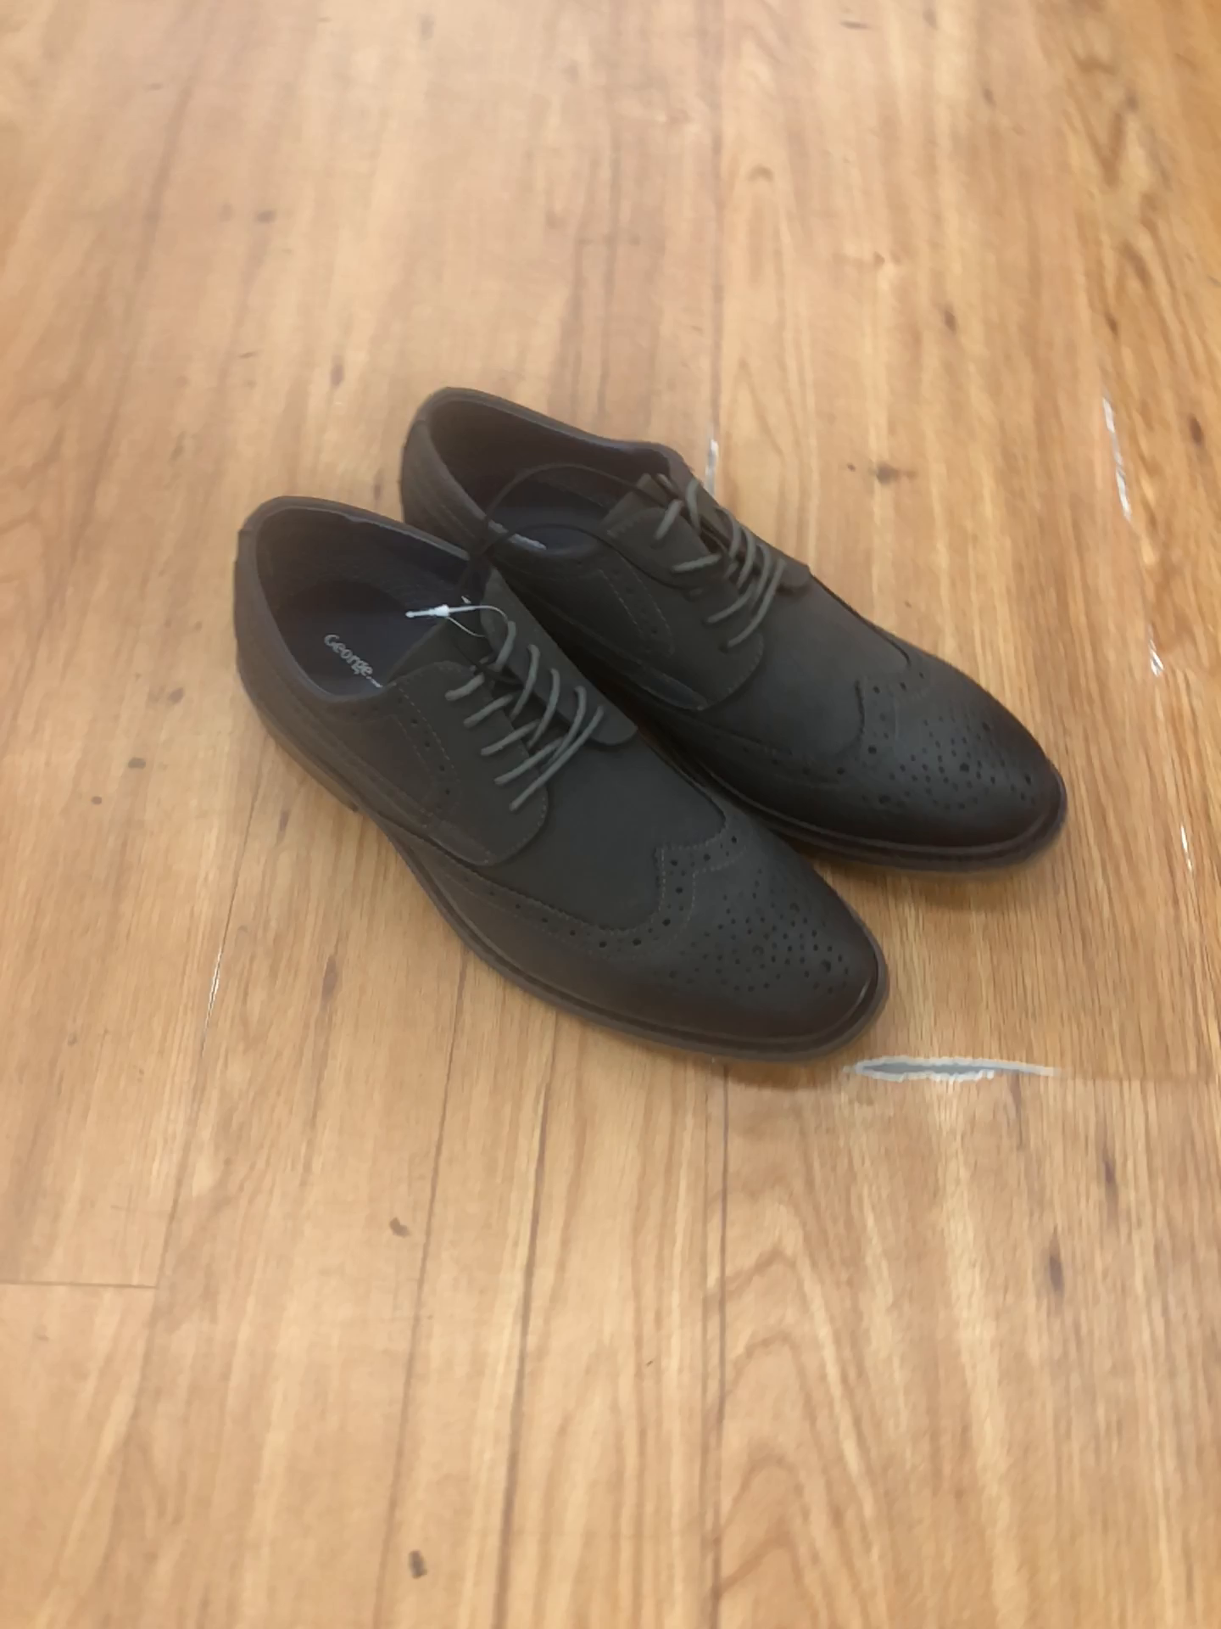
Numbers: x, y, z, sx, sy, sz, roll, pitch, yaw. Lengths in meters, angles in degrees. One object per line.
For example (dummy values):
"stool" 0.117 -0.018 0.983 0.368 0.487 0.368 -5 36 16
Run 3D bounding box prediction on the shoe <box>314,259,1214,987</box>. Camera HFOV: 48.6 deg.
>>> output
"shoe" 0.045 -0.074 0.495 0.280 0.110 0.110 31 67 17

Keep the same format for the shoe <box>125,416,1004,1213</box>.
"shoe" -0.022 -0.005 0.482 0.280 0.110 0.110 37 69 20
